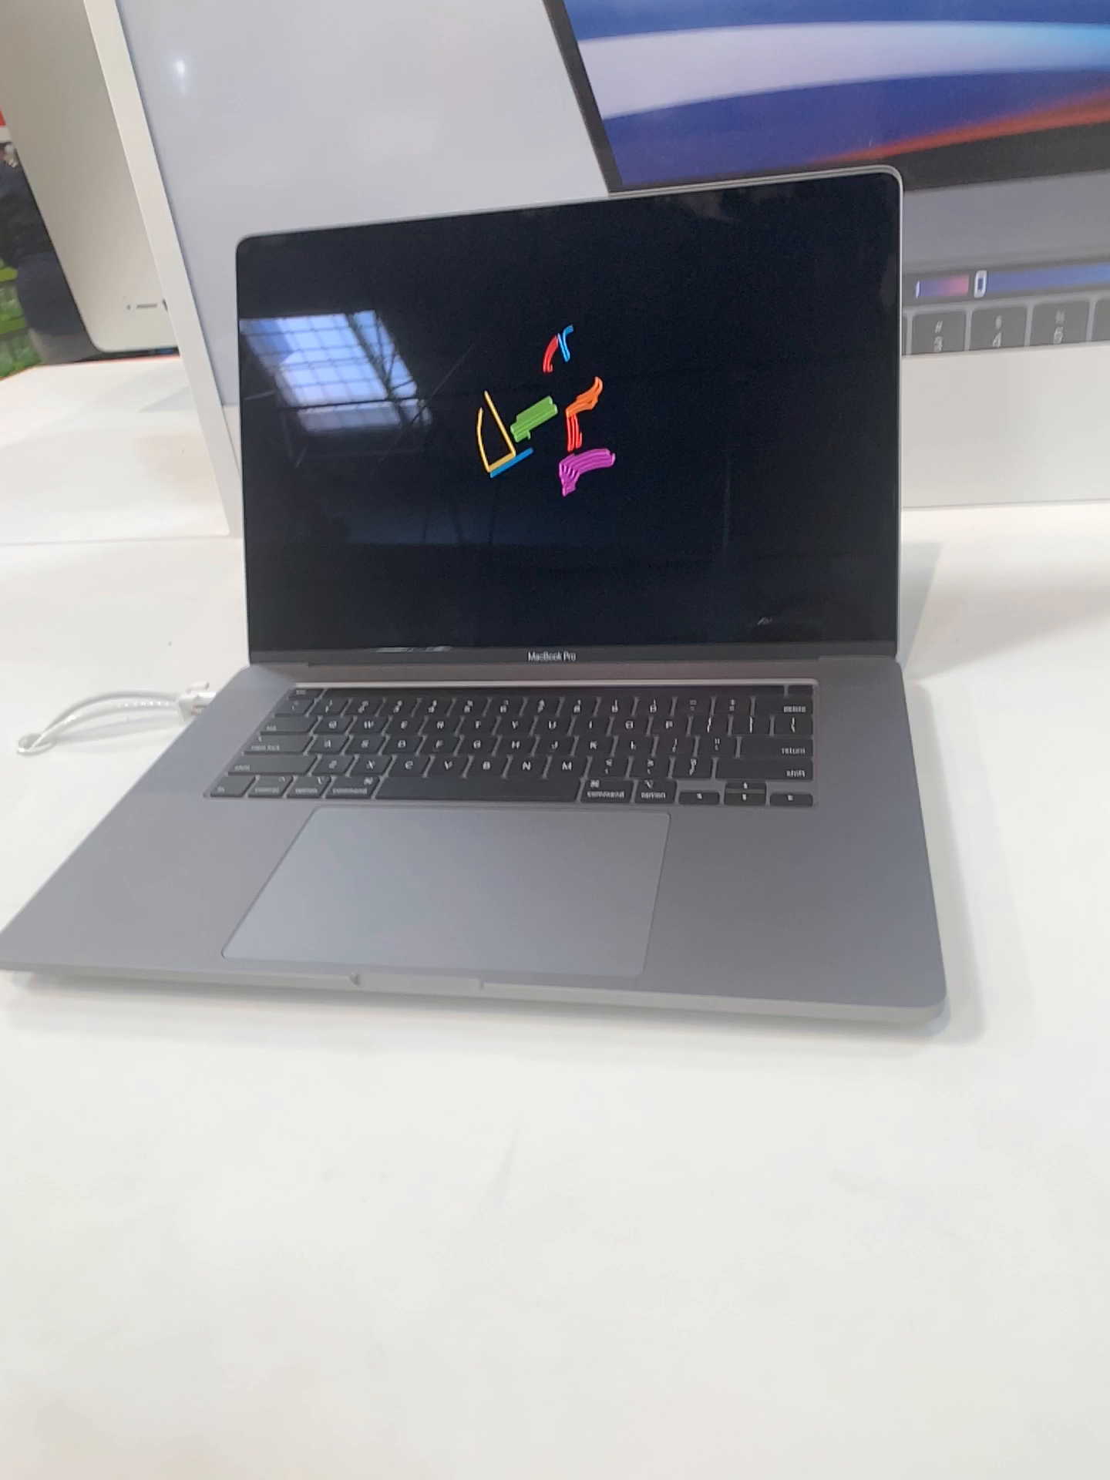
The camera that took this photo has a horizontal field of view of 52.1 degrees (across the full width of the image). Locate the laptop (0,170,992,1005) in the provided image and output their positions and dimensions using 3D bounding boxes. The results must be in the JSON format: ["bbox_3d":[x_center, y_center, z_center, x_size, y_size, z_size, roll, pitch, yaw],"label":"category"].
[{"bbox_3d":[-0.023,-0.094,0.484,0.341,0.203,0.346,0,31,13],"label":"laptop"}]
